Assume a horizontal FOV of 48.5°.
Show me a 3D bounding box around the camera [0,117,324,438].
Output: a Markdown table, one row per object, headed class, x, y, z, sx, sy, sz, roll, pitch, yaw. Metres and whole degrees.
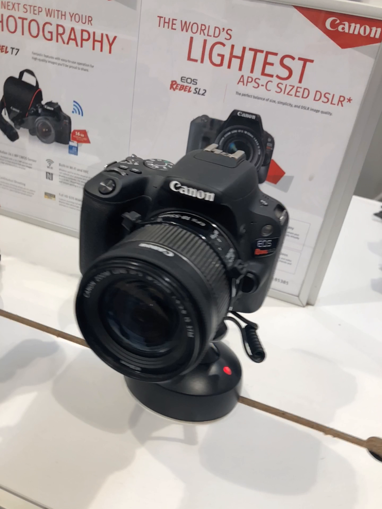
| class | x | y | z | sx | sy | sz | roll | pitch | yaw |
| --- | --- | --- | --- | --- | --- | --- | --- | --- | --- |
| camera | -0.014 | -0.005 | 0.225 | 0.130 | 0.089 | 0.121 | 18 | 30 | 15 |
